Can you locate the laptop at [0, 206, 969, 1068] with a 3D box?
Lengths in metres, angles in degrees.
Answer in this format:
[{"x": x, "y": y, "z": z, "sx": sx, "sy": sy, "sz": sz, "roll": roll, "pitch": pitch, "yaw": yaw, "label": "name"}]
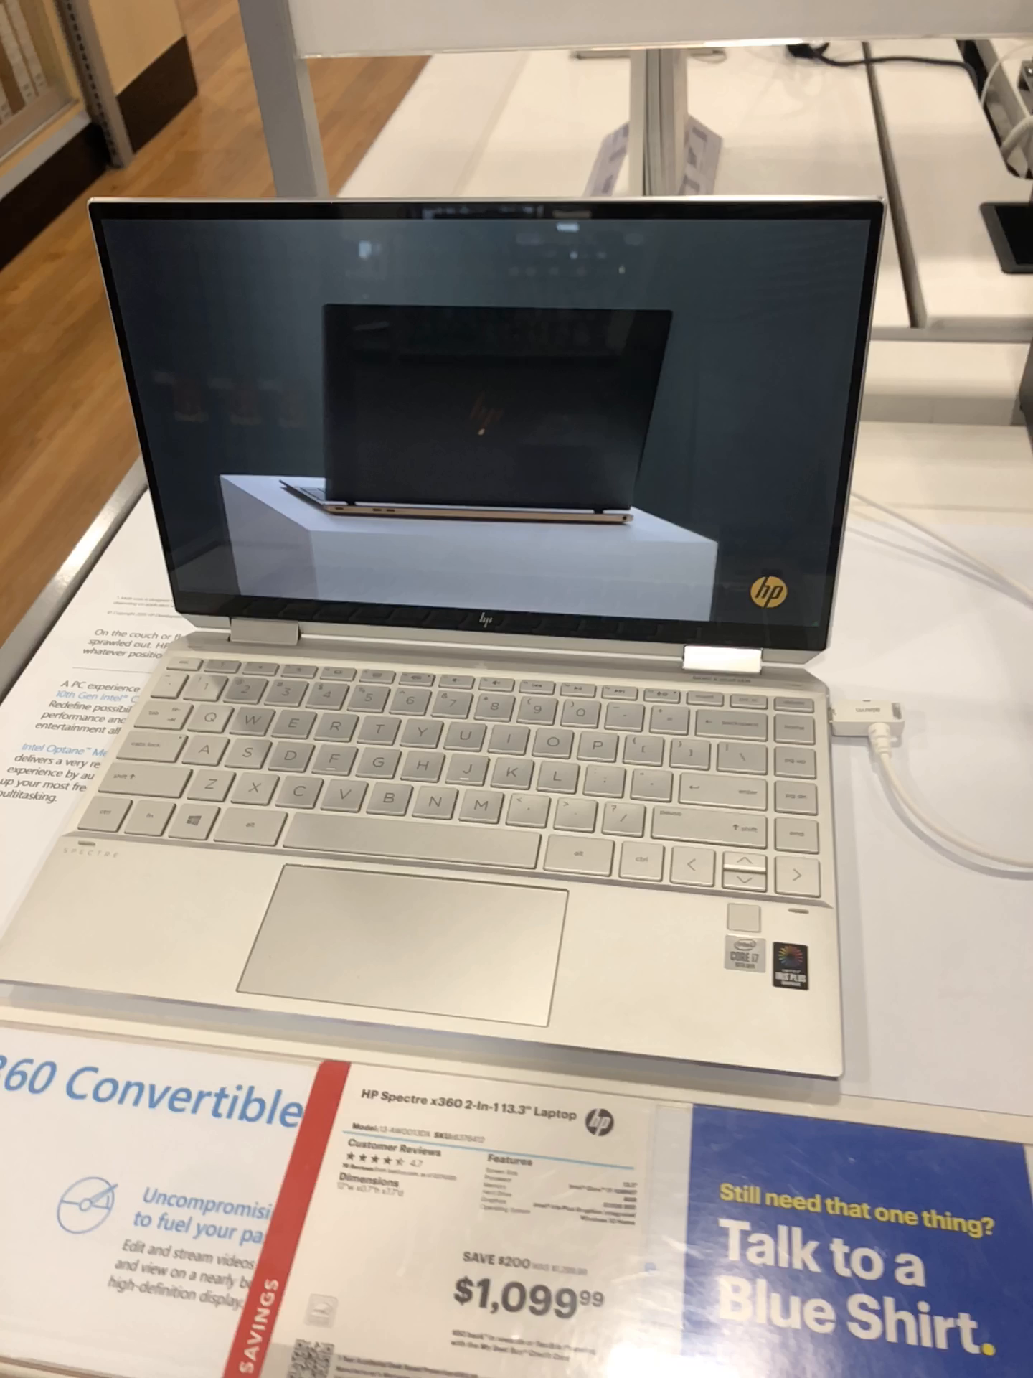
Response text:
[{"x": -0.032, "y": -0.035, "z": 0.406, "sx": 0.302, "sy": 0.184, "sz": 0.228, "roll": 4, "pitch": 44, "yaw": 10, "label": "laptop"}]
